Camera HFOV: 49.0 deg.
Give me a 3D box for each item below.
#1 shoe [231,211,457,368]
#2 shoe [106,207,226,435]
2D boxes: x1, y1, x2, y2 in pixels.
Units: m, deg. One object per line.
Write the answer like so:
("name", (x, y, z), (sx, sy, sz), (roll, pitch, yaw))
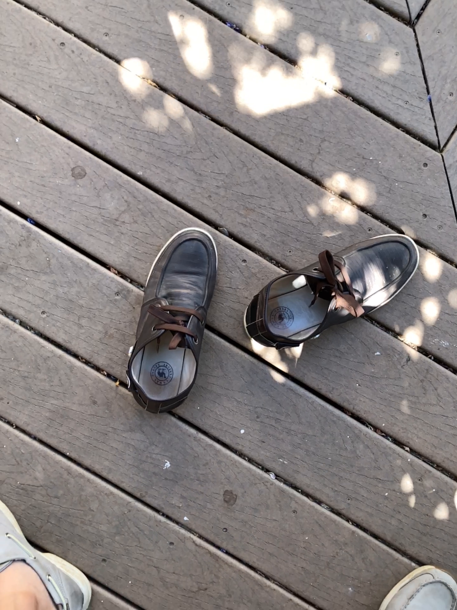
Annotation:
("shoe", (0.165, -0.022, 0.761), (0.303, 0.121, 0.108), (-23, 90, -1))
("shoe", (-0.087, 0.023, 0.757), (0.108, 0.121, 0.300), (12, 90, -1))
